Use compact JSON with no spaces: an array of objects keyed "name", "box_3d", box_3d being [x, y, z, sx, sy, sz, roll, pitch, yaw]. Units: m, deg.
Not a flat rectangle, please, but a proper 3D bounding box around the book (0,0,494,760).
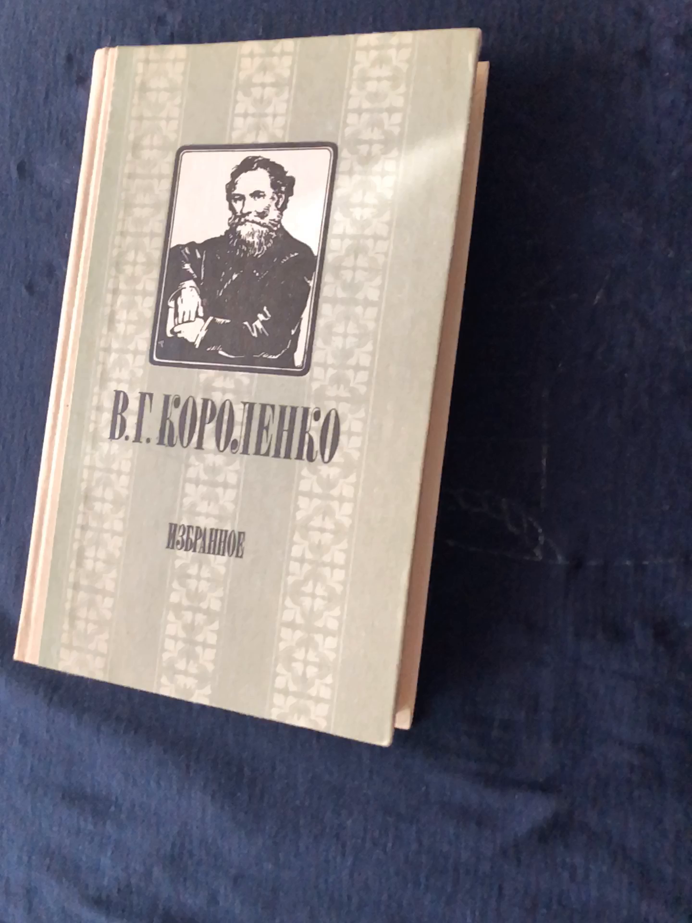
[{"name":"book","box_3d":[-0.034,-0.031,0.242,0.132,0.030,0.210,7,87,17]}]
